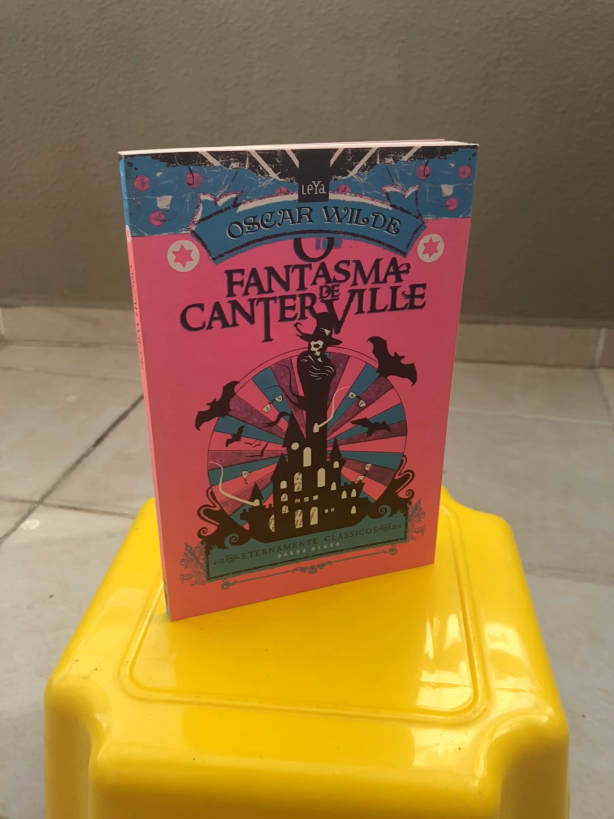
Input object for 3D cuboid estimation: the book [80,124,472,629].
[{"bbox_3d":[-0.007,-0.008,0.310,0.150,0.218,0.020,-9,27,-16],"label":"book"}]
